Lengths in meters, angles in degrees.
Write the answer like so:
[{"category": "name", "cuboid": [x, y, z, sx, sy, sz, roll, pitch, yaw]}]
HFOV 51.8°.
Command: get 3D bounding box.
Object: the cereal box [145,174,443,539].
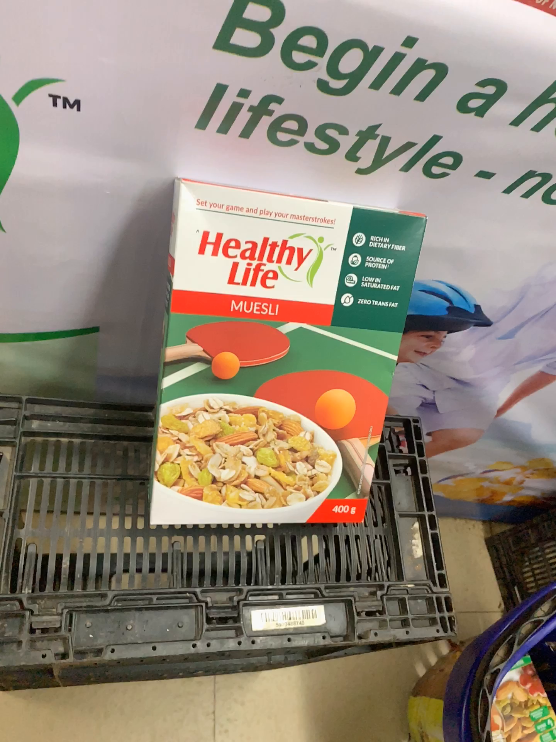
[{"category": "cereal box", "cuboid": [0.000, -0.006, 0.408, 0.170, 0.230, 0.080, 3, 15, -15]}]
